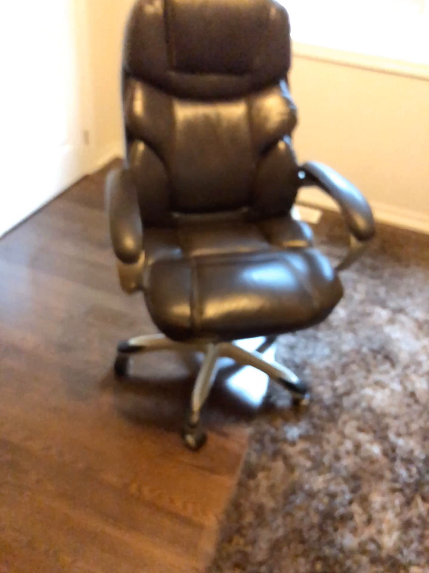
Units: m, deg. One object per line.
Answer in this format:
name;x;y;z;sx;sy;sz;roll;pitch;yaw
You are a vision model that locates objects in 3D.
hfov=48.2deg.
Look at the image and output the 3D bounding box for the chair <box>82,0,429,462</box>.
chair;0.035;-0.188;1.402;0.730;1.135;0.743;-3;39;-13
